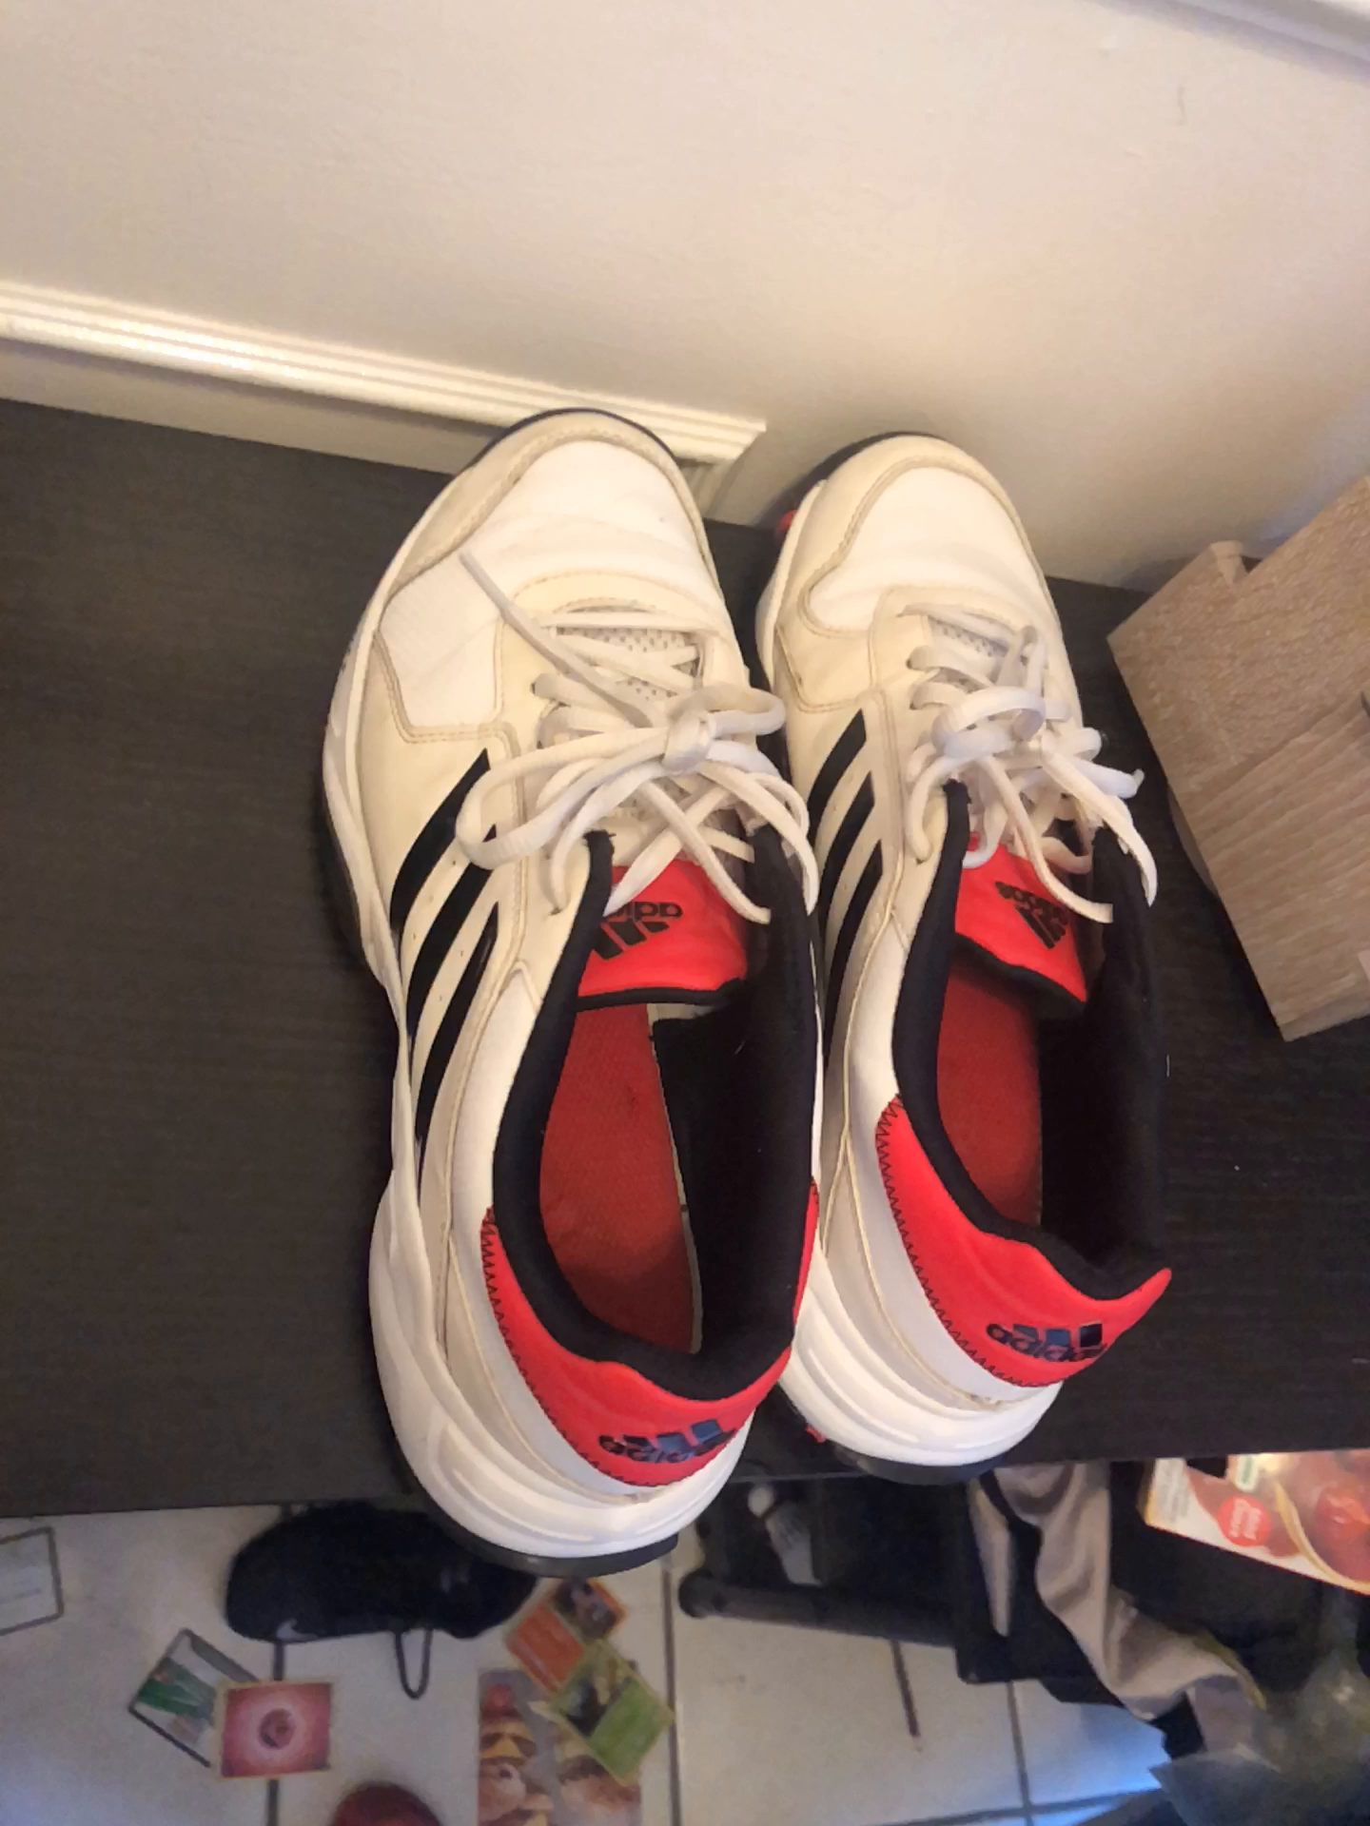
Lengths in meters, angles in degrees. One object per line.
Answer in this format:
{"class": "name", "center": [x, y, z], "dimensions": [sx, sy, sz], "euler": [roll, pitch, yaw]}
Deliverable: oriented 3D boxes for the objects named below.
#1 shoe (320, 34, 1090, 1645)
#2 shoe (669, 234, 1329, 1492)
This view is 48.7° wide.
{"class": "shoe", "center": [-0.015, -0.020, 0.331], "dimensions": [0.110, 0.110, 0.311], "euler": [3, 67, -19]}
{"class": "shoe", "center": [0.065, -0.013, 0.403], "dimensions": [0.110, 0.100, 0.311], "euler": [7, 66, -18]}
